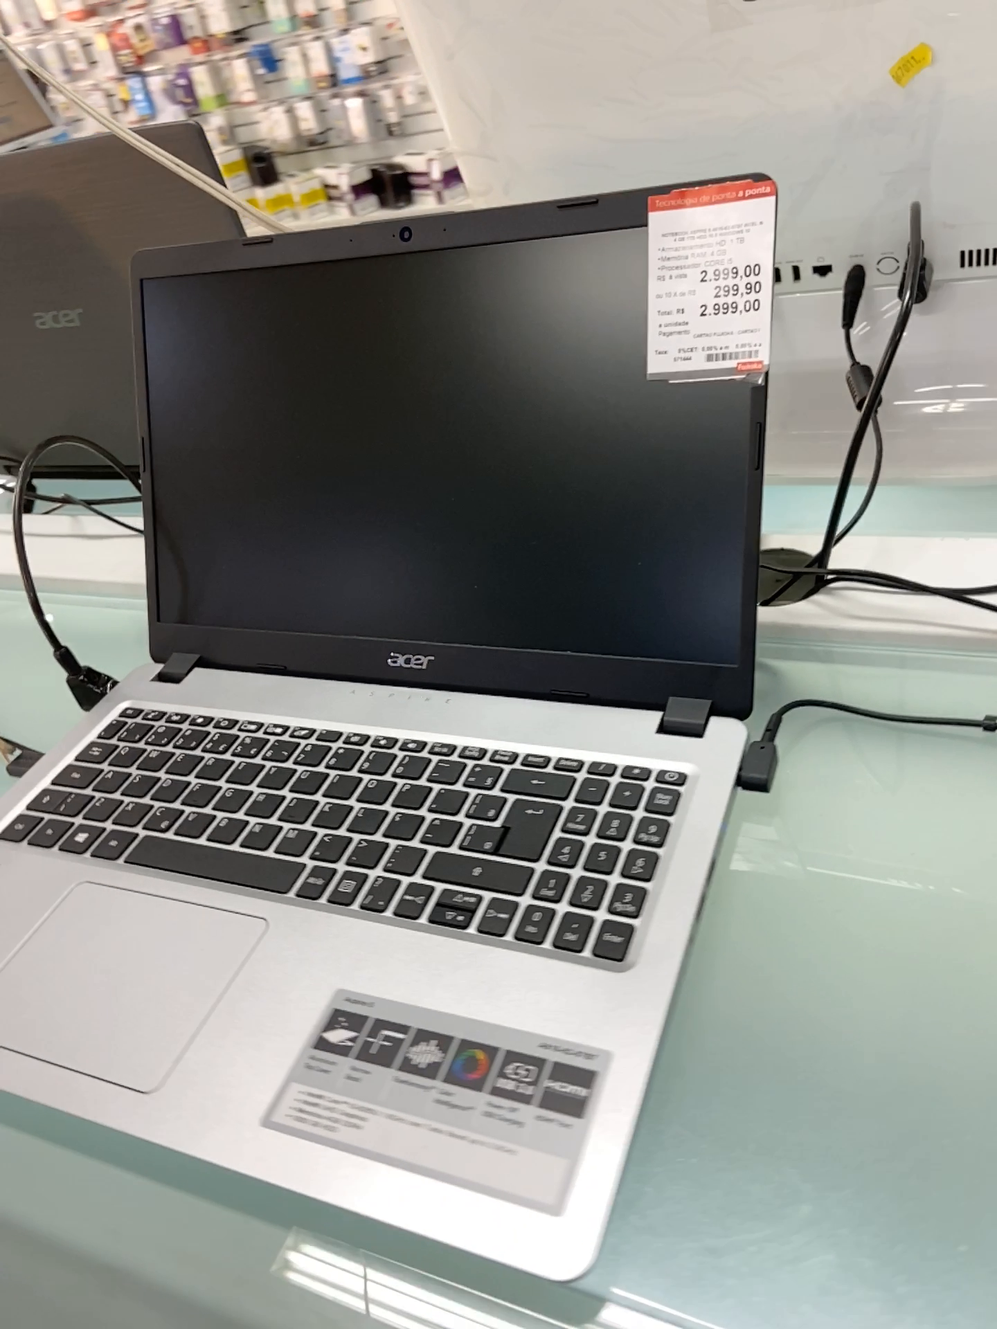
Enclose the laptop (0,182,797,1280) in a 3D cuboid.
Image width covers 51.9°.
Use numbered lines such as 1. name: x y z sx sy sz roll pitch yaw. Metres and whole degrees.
1. laptop: -0.096 -0.027 0.440 0.365 0.204 0.365 4 38 25
